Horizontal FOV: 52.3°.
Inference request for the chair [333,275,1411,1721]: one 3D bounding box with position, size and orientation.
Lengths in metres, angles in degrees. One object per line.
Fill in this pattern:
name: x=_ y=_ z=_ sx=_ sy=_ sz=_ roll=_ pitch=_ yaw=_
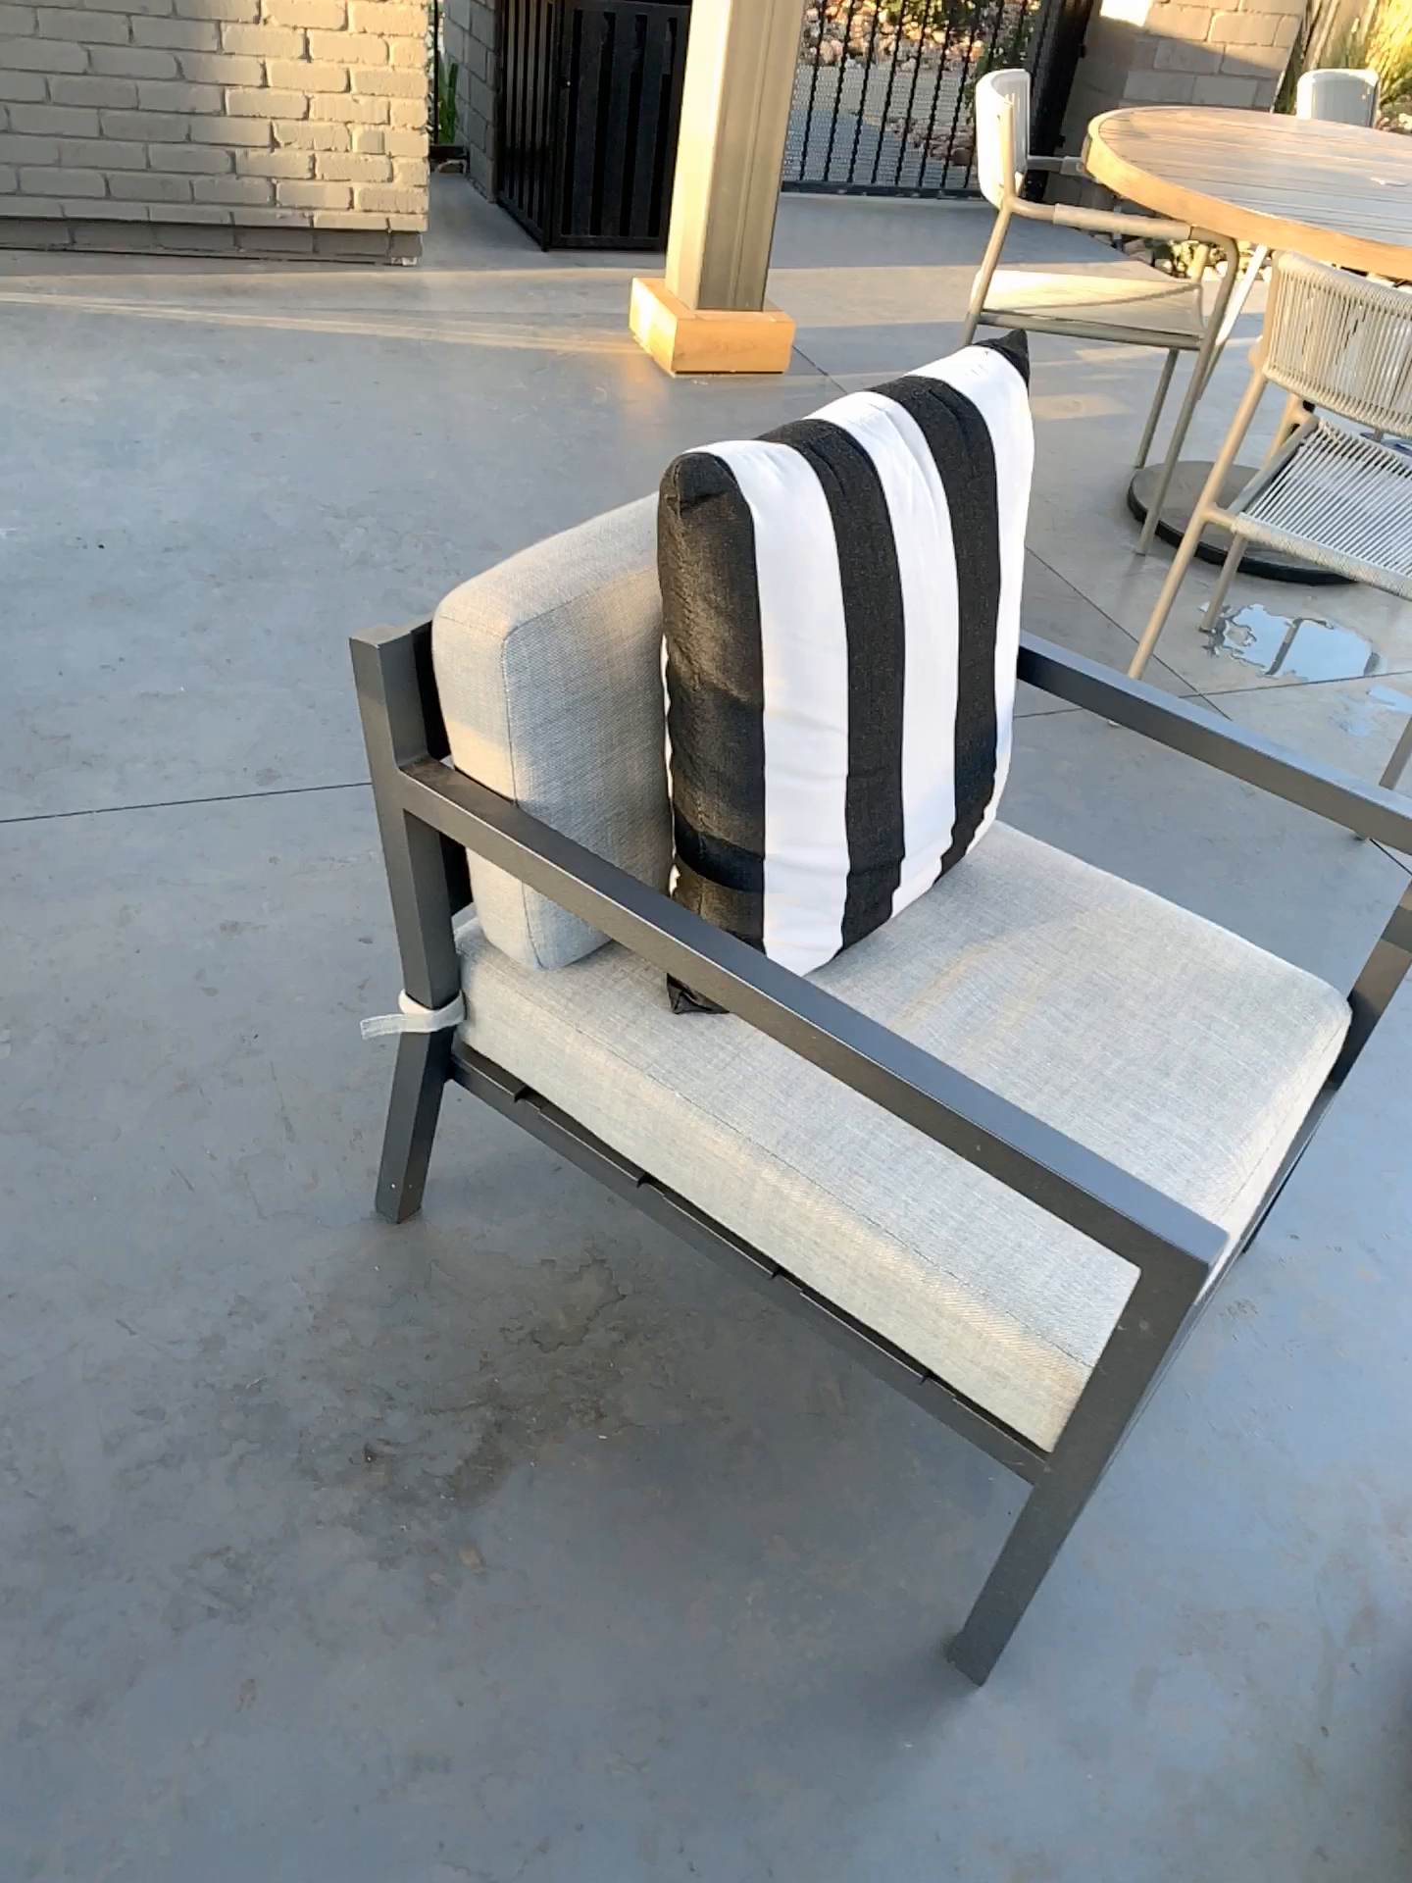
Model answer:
chair: x=0.219 y=-0.024 z=1.291 sx=0.751 sy=0.796 sz=0.733 roll=30 pitch=43 yaw=24
